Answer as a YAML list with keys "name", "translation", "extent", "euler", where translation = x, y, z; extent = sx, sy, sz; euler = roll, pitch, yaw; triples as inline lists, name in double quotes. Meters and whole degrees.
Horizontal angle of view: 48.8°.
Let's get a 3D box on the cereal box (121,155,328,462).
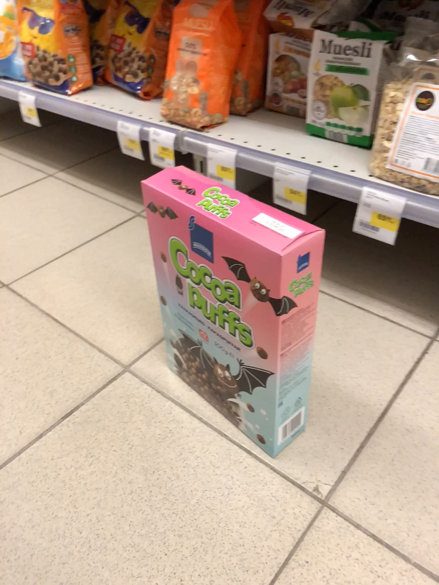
- name: "cereal box"
  translation: [0.000, 0.019, 0.518]
  extent: [0.060, 0.268, 0.211]
  euler: [-31, 46, -31]
